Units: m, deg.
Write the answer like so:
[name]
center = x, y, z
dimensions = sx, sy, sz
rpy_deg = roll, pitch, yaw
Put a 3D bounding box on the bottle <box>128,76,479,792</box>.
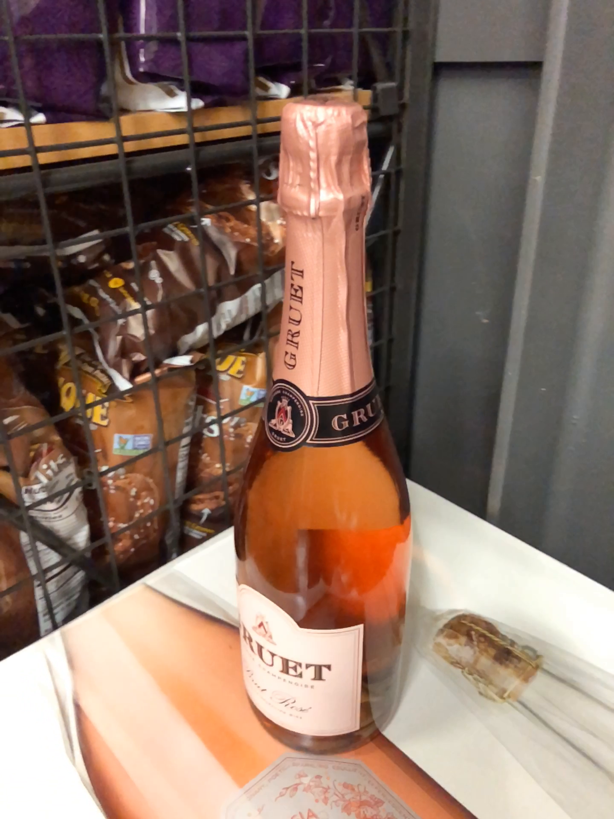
[bottle]
center = 0.003, 0.020, 0.317
dimensions = 0.090, 0.311, 0.090
rpy_deg = -1, 28, 1
